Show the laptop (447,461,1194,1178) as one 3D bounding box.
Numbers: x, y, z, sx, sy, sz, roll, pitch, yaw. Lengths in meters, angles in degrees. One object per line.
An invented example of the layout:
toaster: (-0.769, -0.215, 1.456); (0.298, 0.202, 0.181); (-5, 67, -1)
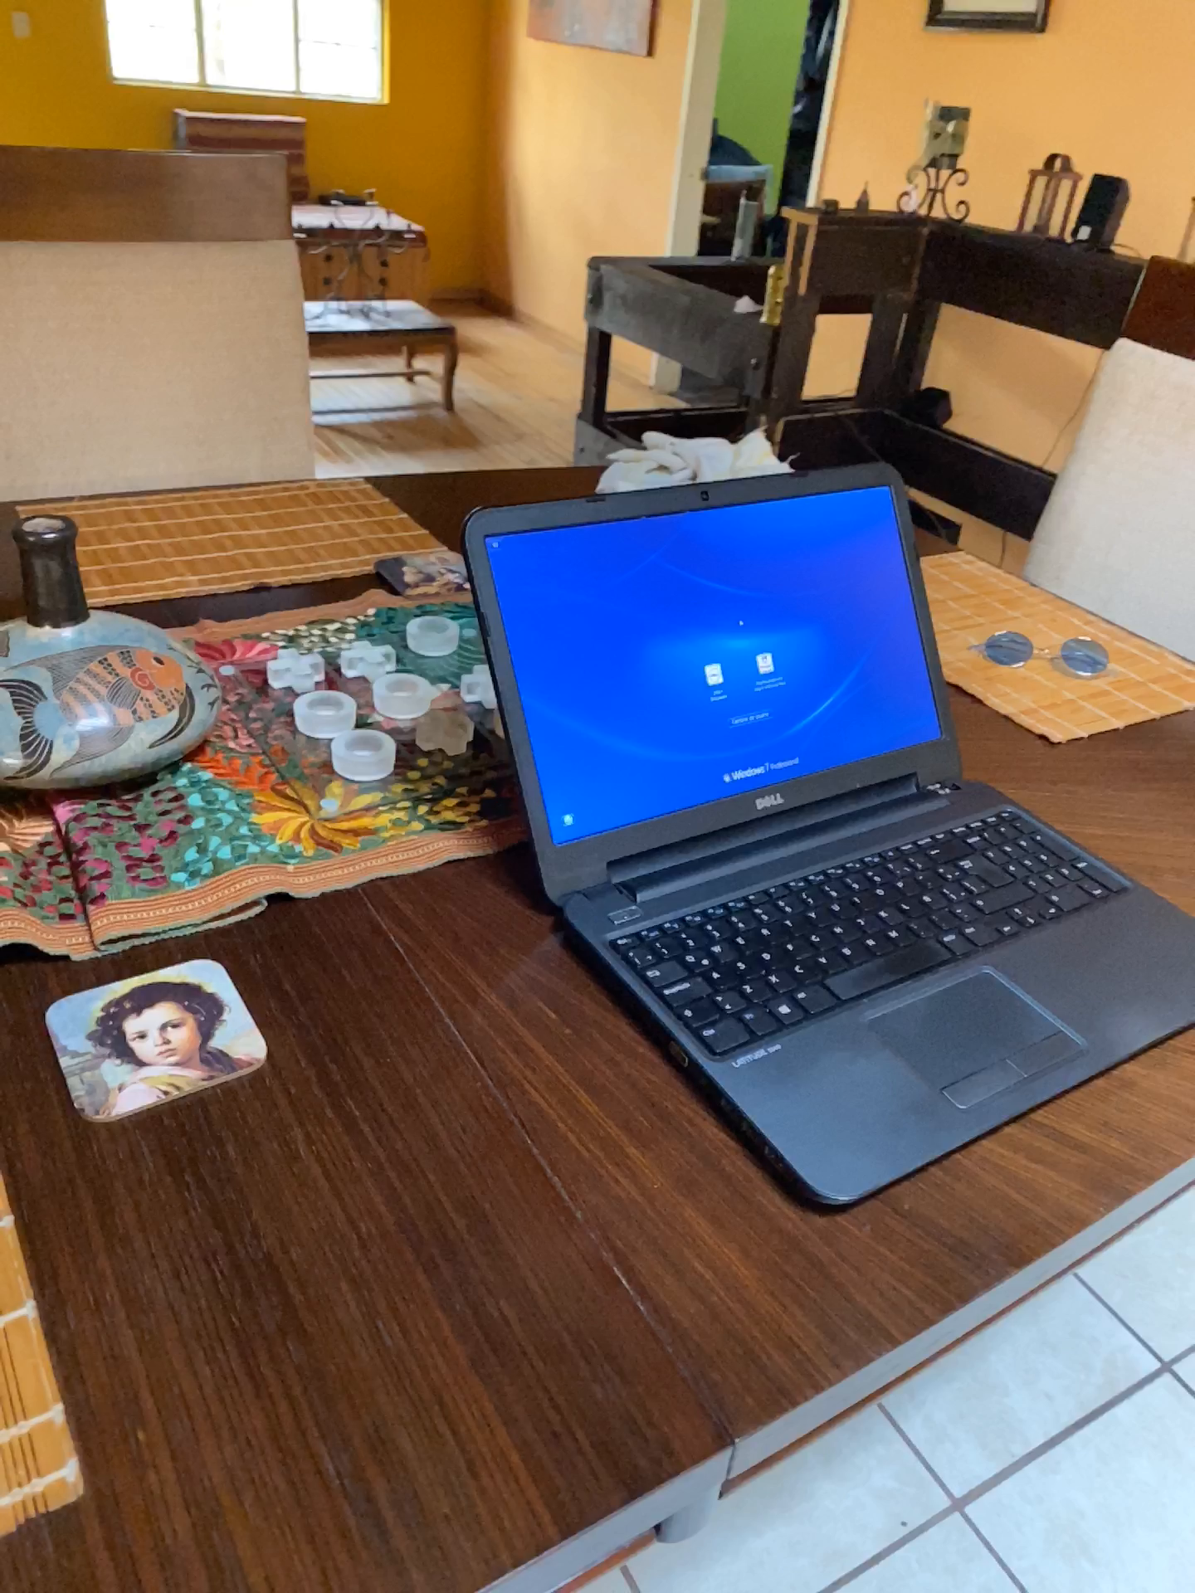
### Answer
laptop: (0.165, -0.038, 0.759); (0.368, 0.194, 0.396); (-14, 38, -31)
